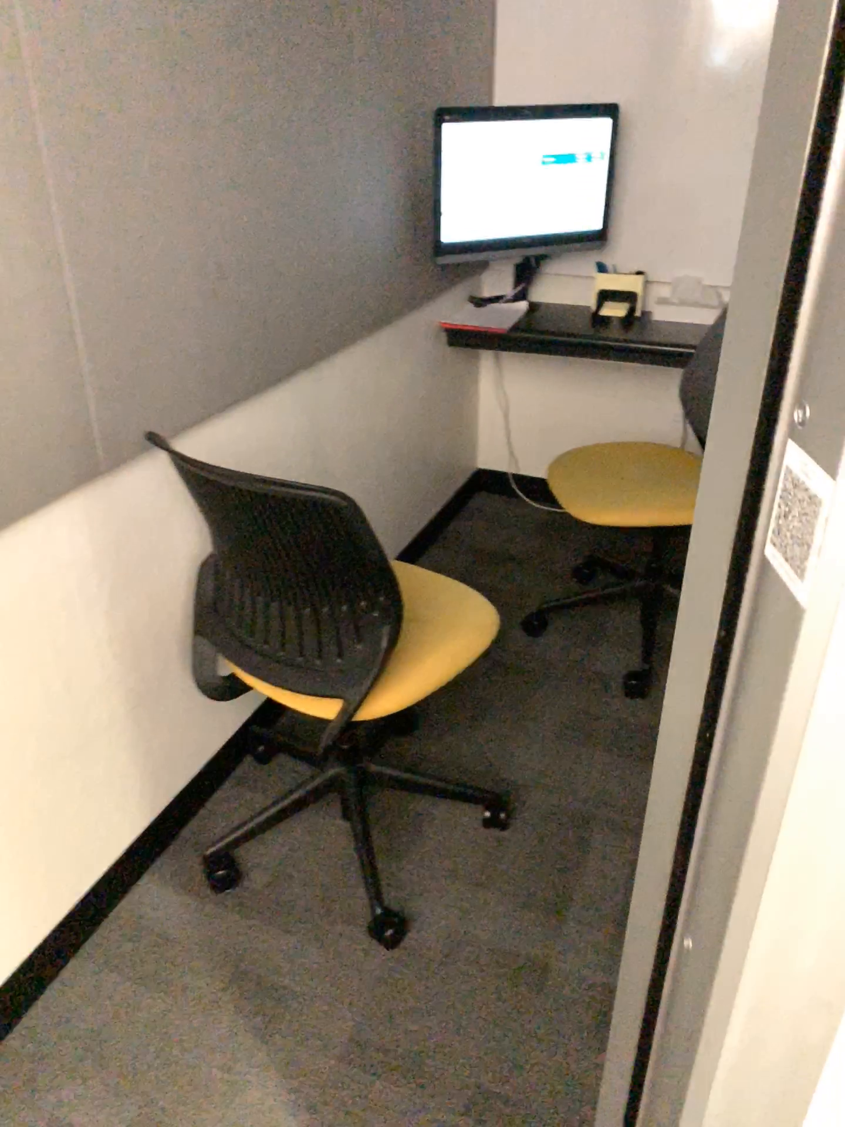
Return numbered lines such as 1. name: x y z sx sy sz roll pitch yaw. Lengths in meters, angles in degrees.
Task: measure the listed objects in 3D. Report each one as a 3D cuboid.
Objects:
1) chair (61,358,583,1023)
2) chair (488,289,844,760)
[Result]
1. chair: -0.143 0.170 1.525 0.552 0.845 0.571 22 36 34
2. chair: 0.809 -0.183 2.633 0.950 1.034 0.926 -7 30 -12
